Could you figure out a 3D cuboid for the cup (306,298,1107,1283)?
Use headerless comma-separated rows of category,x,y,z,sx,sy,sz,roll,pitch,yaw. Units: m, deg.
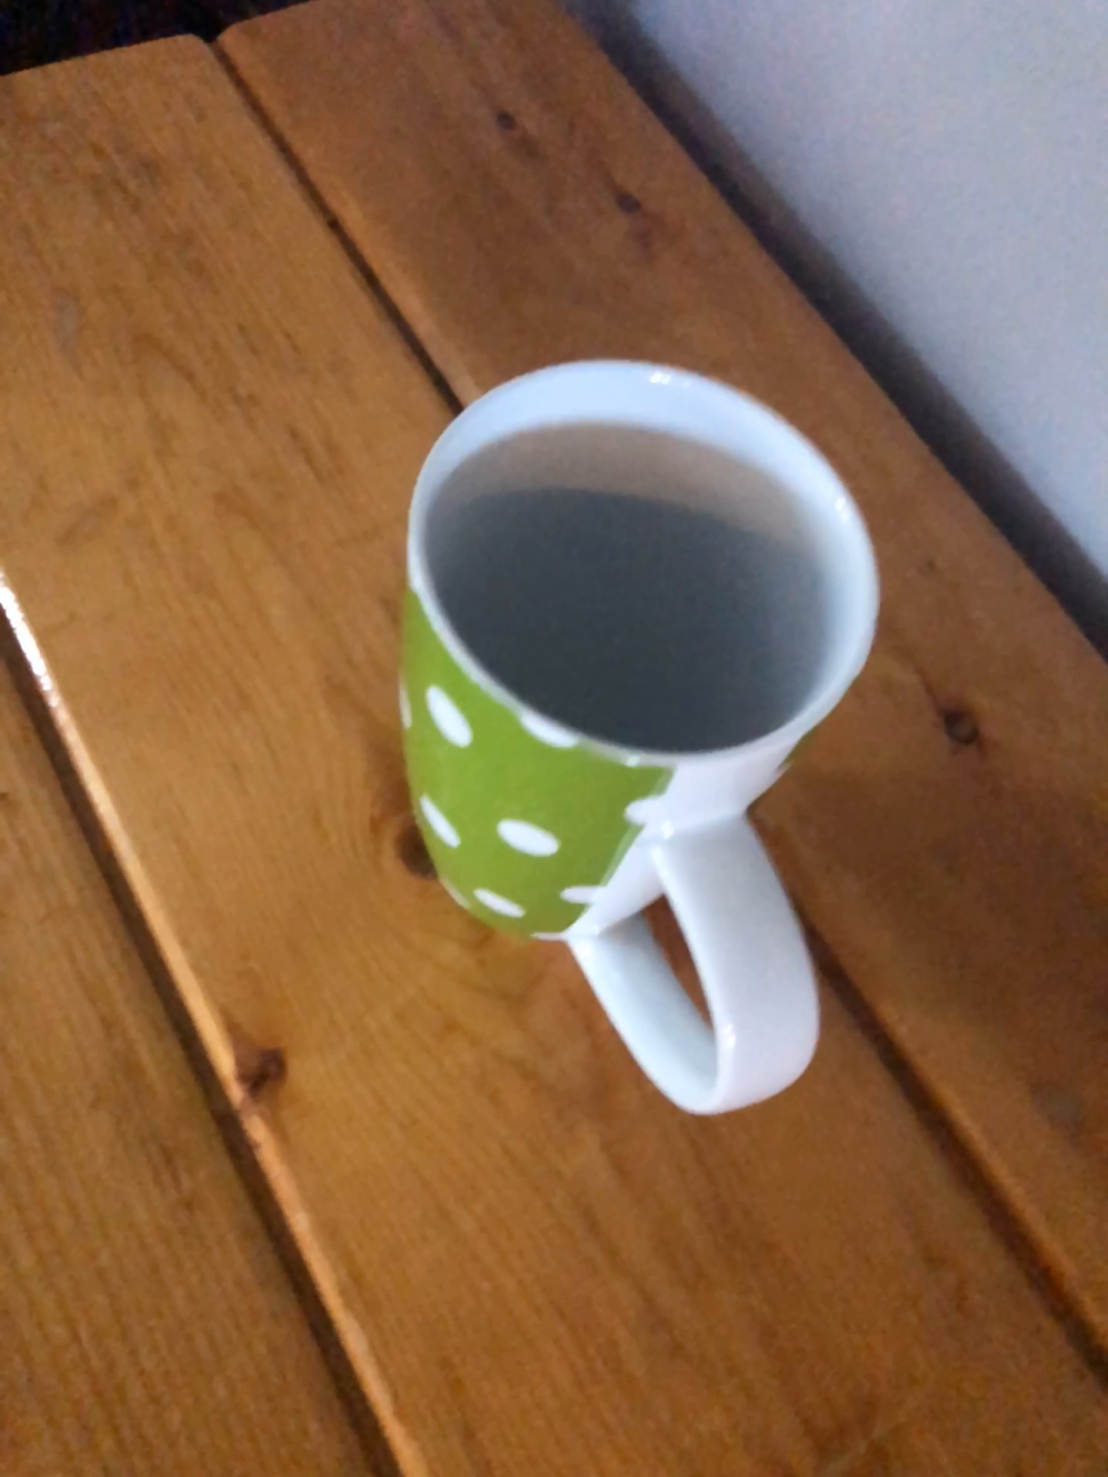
cup,0.021,0.022,0.275,0.100,0.150,0.150,-18,67,-14
